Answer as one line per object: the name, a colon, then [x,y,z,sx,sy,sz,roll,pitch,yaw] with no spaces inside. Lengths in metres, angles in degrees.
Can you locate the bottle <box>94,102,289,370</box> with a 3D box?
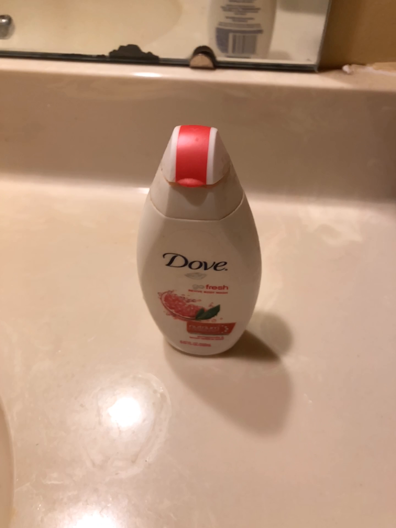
bottle: [0.001,-0.001,0.236,0.070,0.160,0.040,6,53,6]
